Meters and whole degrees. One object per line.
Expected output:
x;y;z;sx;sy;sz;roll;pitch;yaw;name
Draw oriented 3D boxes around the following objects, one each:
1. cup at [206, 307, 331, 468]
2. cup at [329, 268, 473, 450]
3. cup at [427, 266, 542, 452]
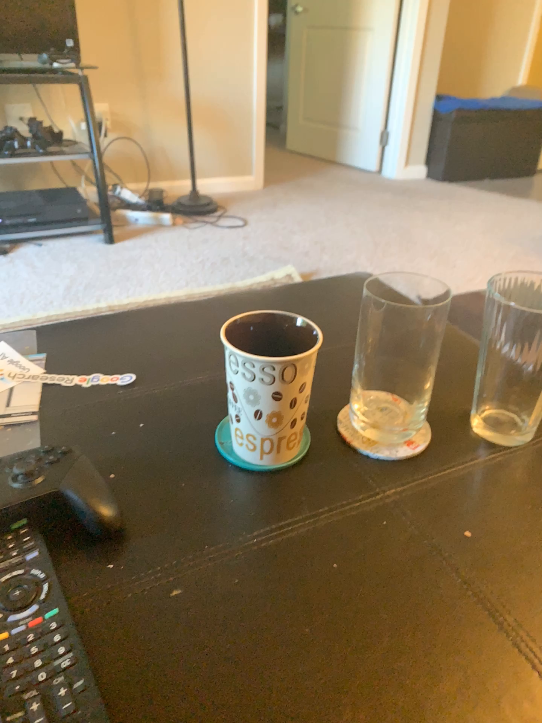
-0.006;0.019;0.468;0.090;0.099;0.091;2;31;-1;cup
0.105;-0.003;0.485;0.080;0.129;0.081;2;31;-1;cup
0.210;-0.003;0.508;0.080;0.139;0.081;2;31;-1;cup
